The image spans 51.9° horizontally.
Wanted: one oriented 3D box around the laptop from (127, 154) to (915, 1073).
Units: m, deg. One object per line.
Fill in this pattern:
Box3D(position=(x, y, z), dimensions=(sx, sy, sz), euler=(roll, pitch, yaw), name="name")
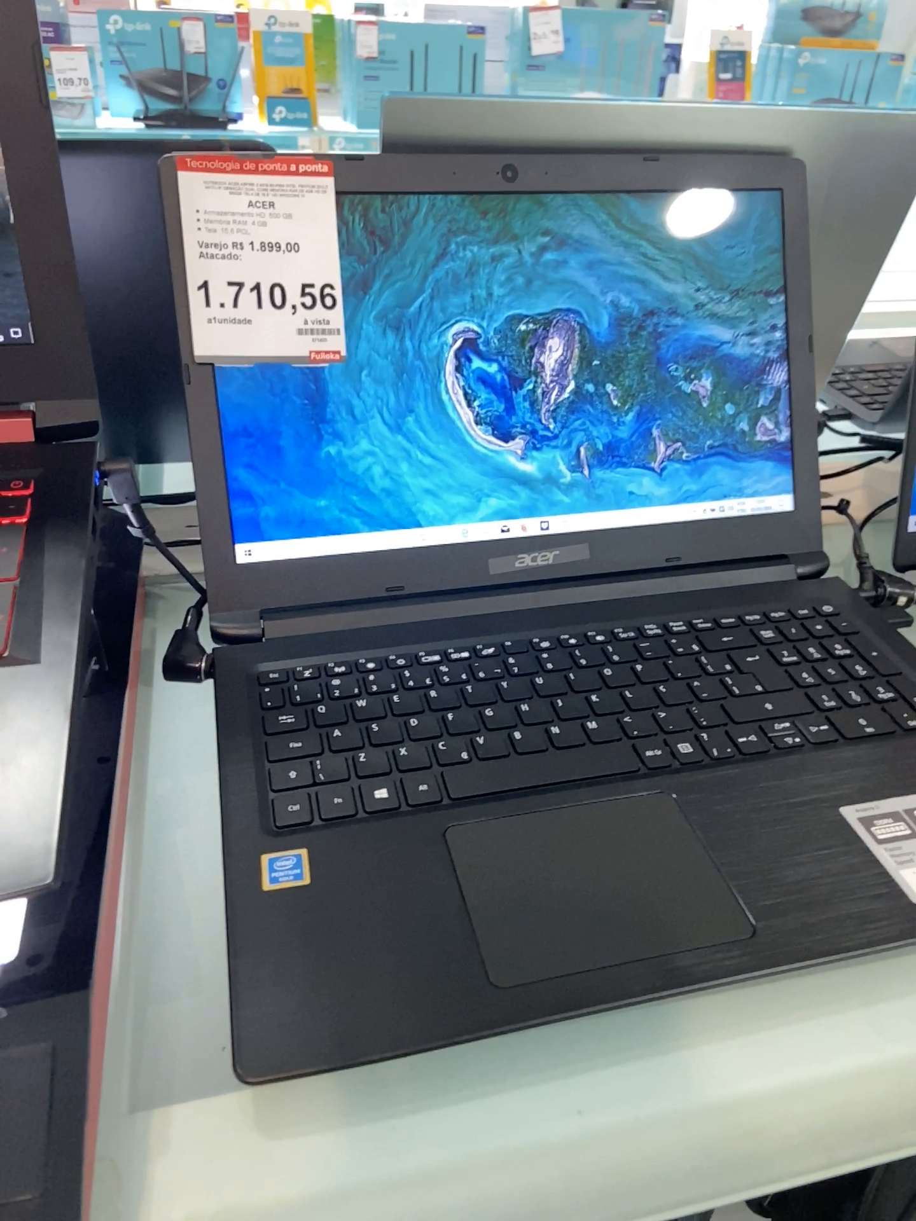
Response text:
Box3D(position=(0.065, -0.065, 0.442), dimensions=(0.377, 0.216, 0.382), euler=(-6, 34, -13), name="laptop")
